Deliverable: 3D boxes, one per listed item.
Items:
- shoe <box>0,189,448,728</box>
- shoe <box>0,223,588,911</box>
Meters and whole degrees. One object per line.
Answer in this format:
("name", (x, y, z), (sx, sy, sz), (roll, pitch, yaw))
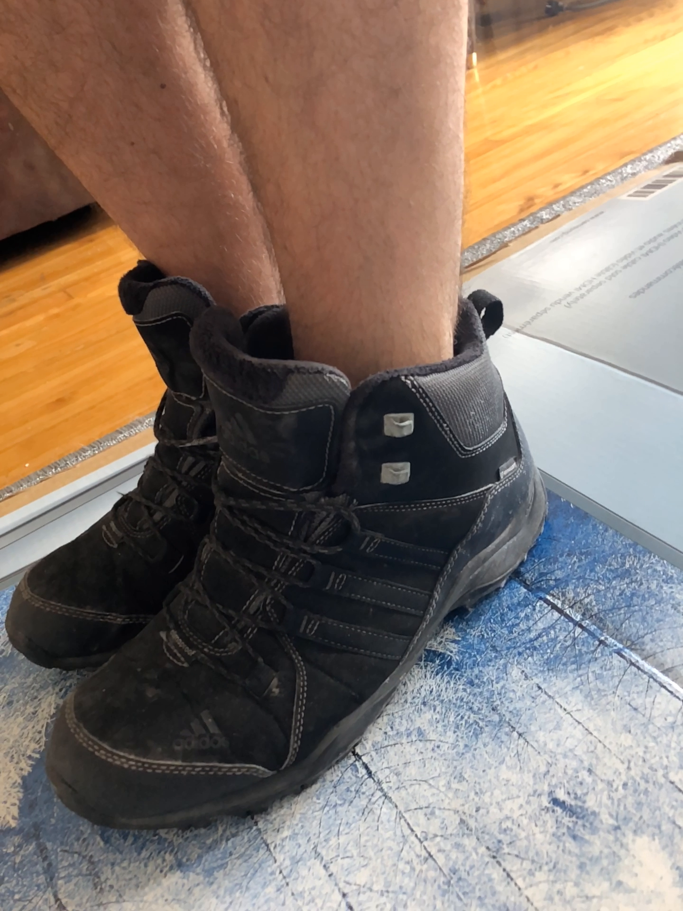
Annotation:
("shoe", (-0.087, -0.017, 0.442), (0.281, 0.169, 0.111), (-35, 38, -25))
("shoe", (-0.023, 0.034, 0.350), (0.281, 0.169, 0.111), (-35, 38, -25))
